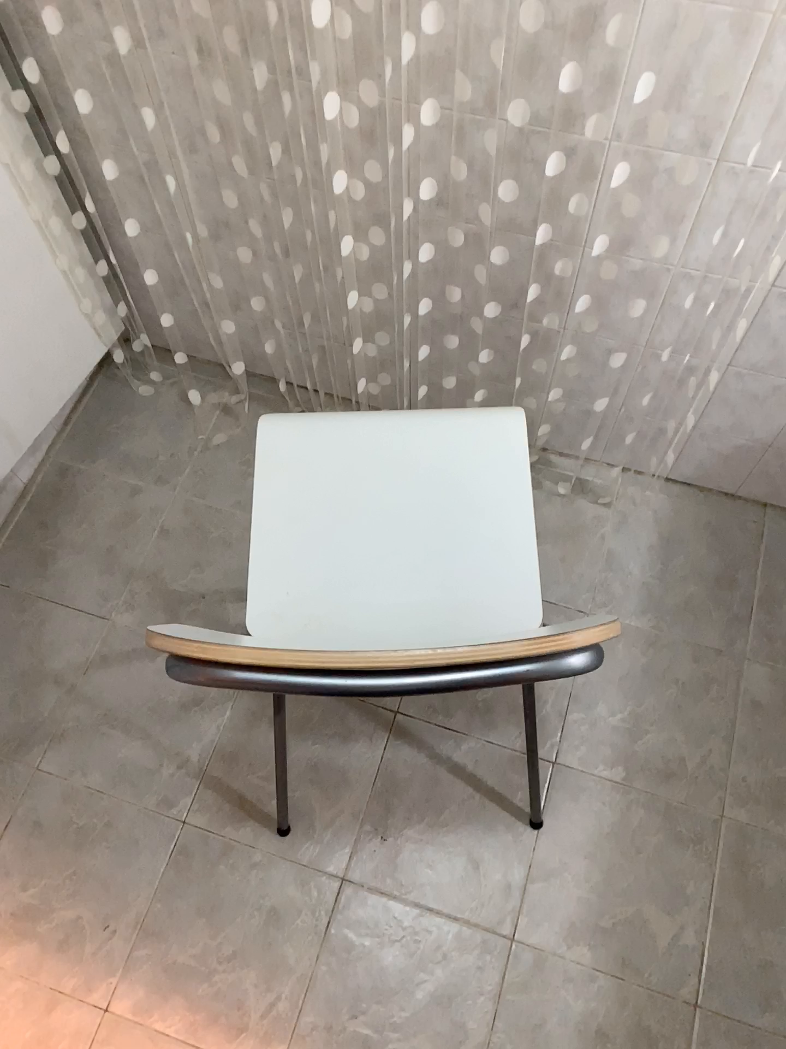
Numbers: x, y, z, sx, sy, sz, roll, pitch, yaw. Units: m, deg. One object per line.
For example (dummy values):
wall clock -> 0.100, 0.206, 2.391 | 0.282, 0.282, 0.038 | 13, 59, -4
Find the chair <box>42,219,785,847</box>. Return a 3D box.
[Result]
chair -> 0.020, 0.148, 1.117 | 0.537, 1.011, 0.466 | -2, 64, 0
